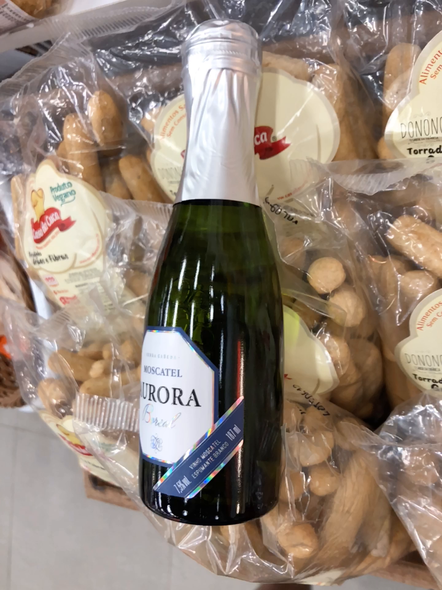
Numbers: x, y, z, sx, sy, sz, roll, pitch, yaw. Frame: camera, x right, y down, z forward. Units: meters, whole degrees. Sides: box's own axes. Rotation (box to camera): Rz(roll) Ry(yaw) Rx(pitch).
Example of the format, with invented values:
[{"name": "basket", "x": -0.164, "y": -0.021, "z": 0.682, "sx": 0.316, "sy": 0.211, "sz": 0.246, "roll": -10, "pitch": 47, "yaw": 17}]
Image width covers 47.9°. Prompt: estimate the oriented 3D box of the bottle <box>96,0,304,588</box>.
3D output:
[{"name": "bottle", "x": -0.007, "y": -0.008, "z": 0.189, "sx": 0.060, "sy": 0.050, "sz": 0.200, "roll": 2, "pitch": 94, "yaw": 26}]
